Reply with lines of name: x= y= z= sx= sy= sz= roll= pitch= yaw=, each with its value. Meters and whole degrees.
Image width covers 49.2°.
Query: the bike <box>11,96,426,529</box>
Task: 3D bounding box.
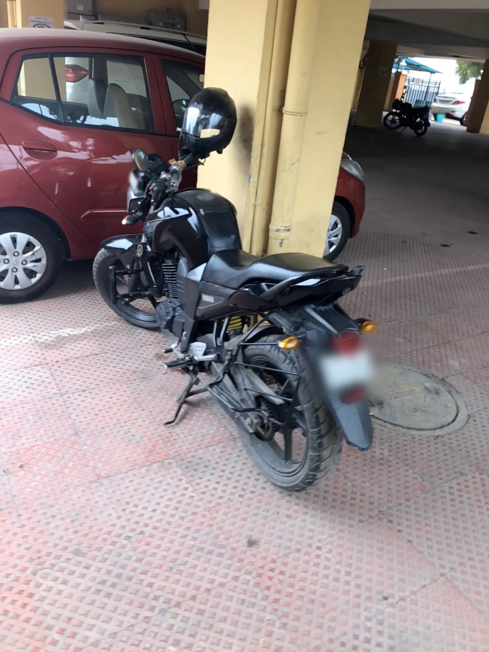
bike: x=-0.316 y=-0.245 z=2.292 sx=0.611 sy=1.052 sz=1.804 roll=-15 pitch=35 yaw=-37
